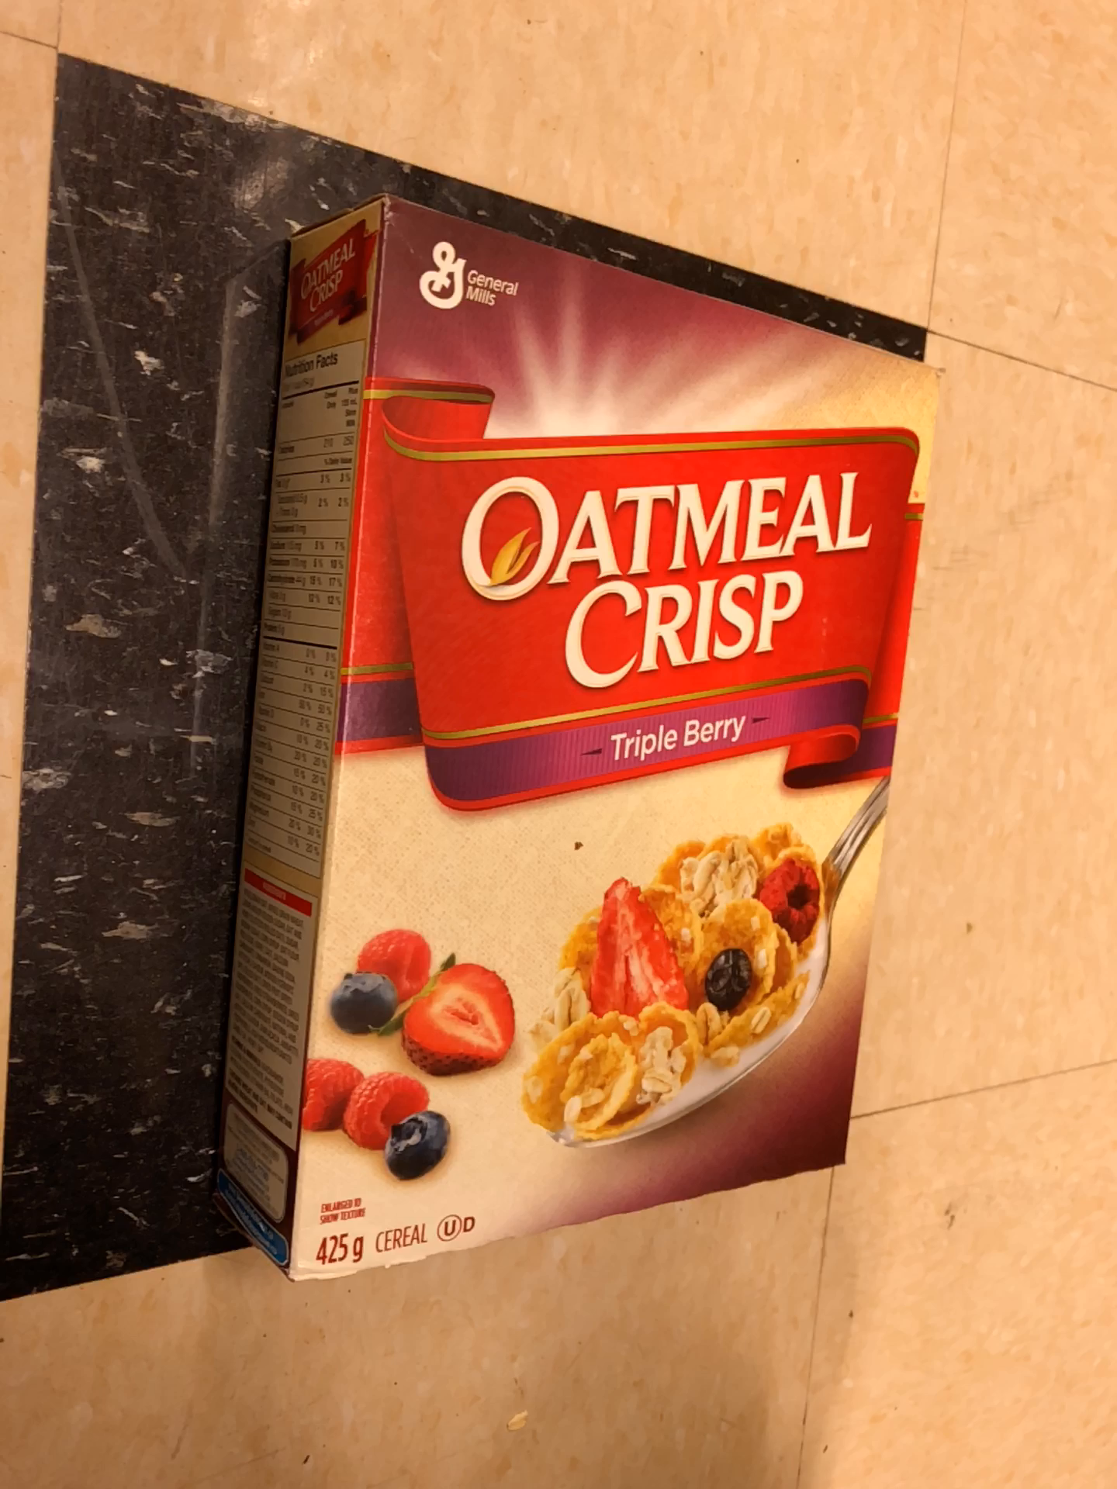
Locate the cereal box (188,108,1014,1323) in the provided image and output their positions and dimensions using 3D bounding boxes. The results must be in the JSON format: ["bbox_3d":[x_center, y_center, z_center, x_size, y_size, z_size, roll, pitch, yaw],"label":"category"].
[{"bbox_3d":[0.018,-0.002,0.337,0.201,0.070,0.250,3,95,-34],"label":"cereal box"}]
